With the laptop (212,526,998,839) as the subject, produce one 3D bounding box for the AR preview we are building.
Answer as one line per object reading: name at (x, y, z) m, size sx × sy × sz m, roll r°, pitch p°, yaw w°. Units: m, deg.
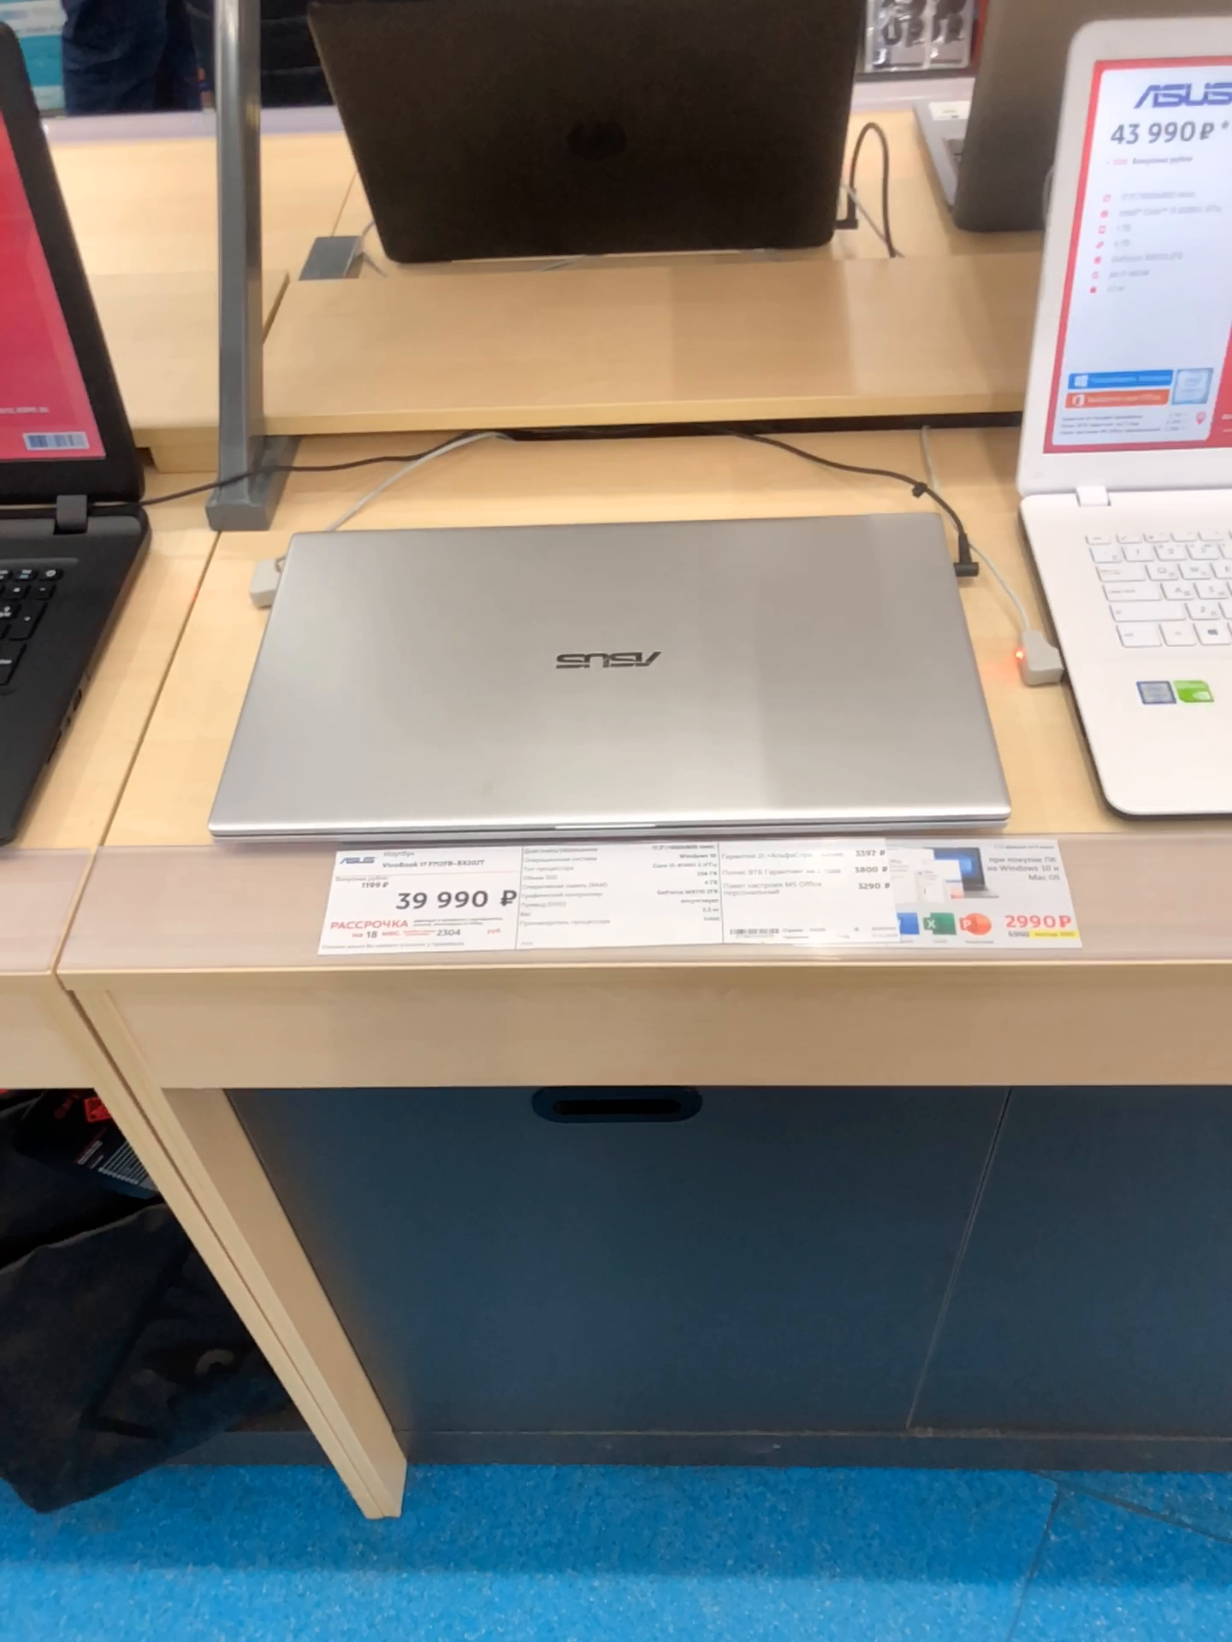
laptop at (-0.007, -0.085, 0.750) m, size 0.391 × 0.006 × 0.233 m, roll -1°, pitch 49°, yaw 3°
